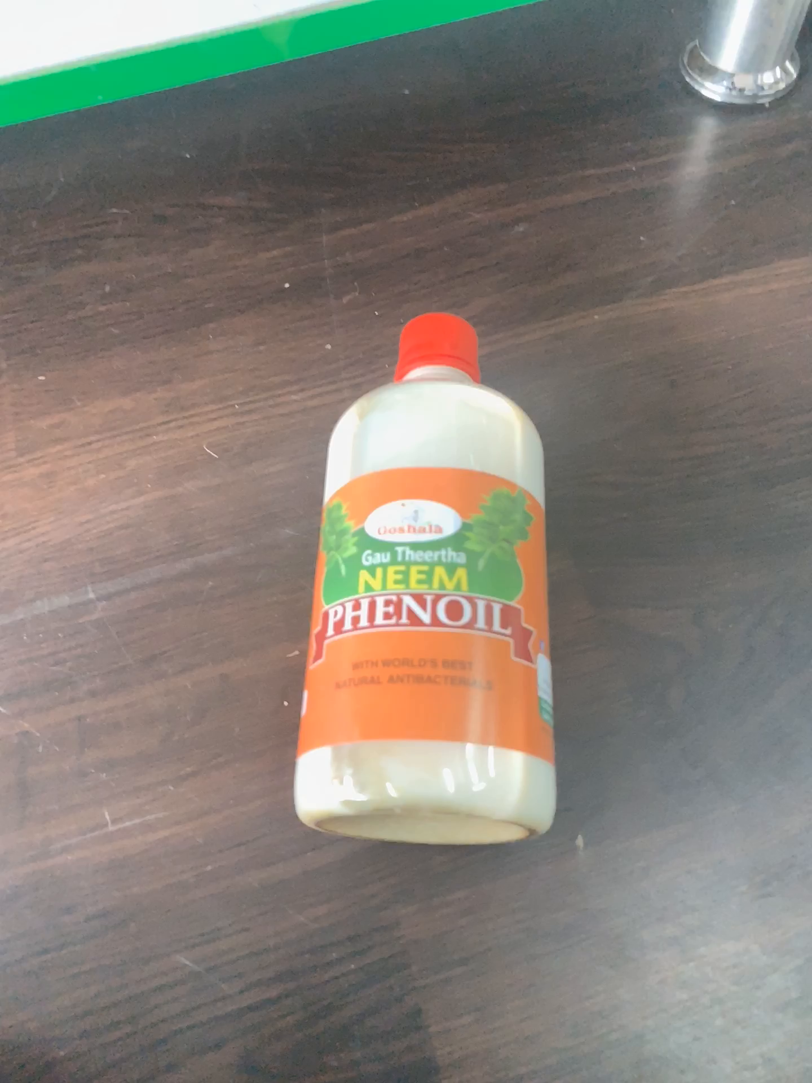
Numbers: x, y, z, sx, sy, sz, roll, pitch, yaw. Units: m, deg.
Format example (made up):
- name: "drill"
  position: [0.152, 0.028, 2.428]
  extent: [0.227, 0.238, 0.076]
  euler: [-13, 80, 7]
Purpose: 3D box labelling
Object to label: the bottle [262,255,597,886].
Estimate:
- name: "bottle"
  position: [0.011, 0.006, 0.271]
  extent: [0.080, 0.070, 0.190]
  euler: [2, 65, 3]
